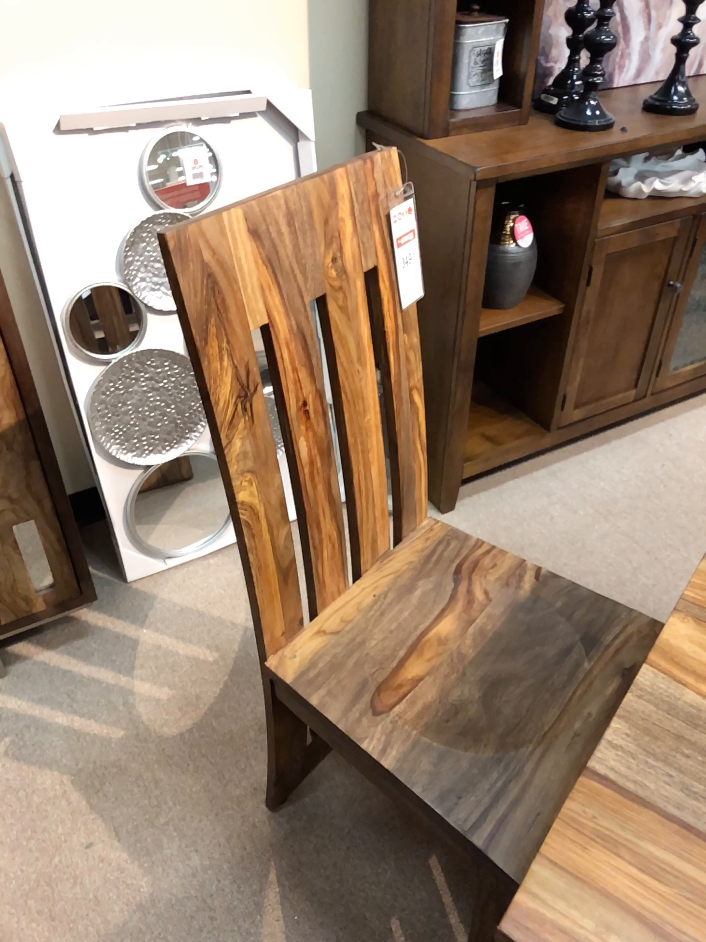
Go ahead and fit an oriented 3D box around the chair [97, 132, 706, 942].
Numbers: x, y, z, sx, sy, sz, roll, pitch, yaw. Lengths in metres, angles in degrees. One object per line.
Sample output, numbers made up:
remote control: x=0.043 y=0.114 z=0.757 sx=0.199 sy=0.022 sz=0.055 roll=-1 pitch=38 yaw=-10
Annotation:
chair: x=0.140 y=0.180 z=1.068 sx=0.592 sy=1.023 sz=0.512 roll=28 pitch=46 yaw=30
